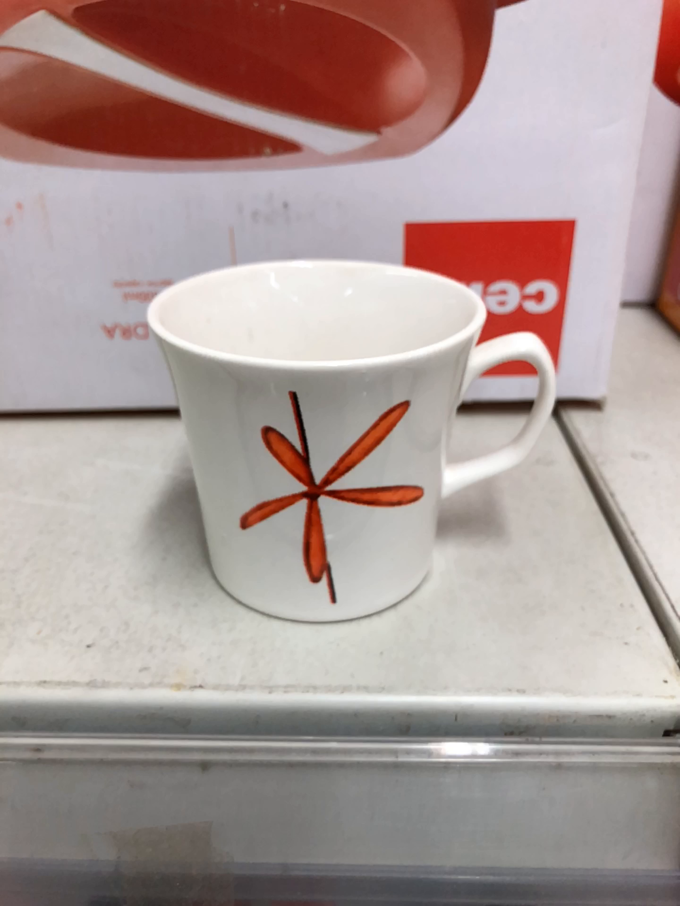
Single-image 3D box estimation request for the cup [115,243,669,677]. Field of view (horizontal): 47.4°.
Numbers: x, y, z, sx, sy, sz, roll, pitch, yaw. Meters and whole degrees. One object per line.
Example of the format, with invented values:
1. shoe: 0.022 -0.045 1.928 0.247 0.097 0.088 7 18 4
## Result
1. cup: 0.007 -0.004 0.184 0.100 0.070 0.070 -5 29 -7
